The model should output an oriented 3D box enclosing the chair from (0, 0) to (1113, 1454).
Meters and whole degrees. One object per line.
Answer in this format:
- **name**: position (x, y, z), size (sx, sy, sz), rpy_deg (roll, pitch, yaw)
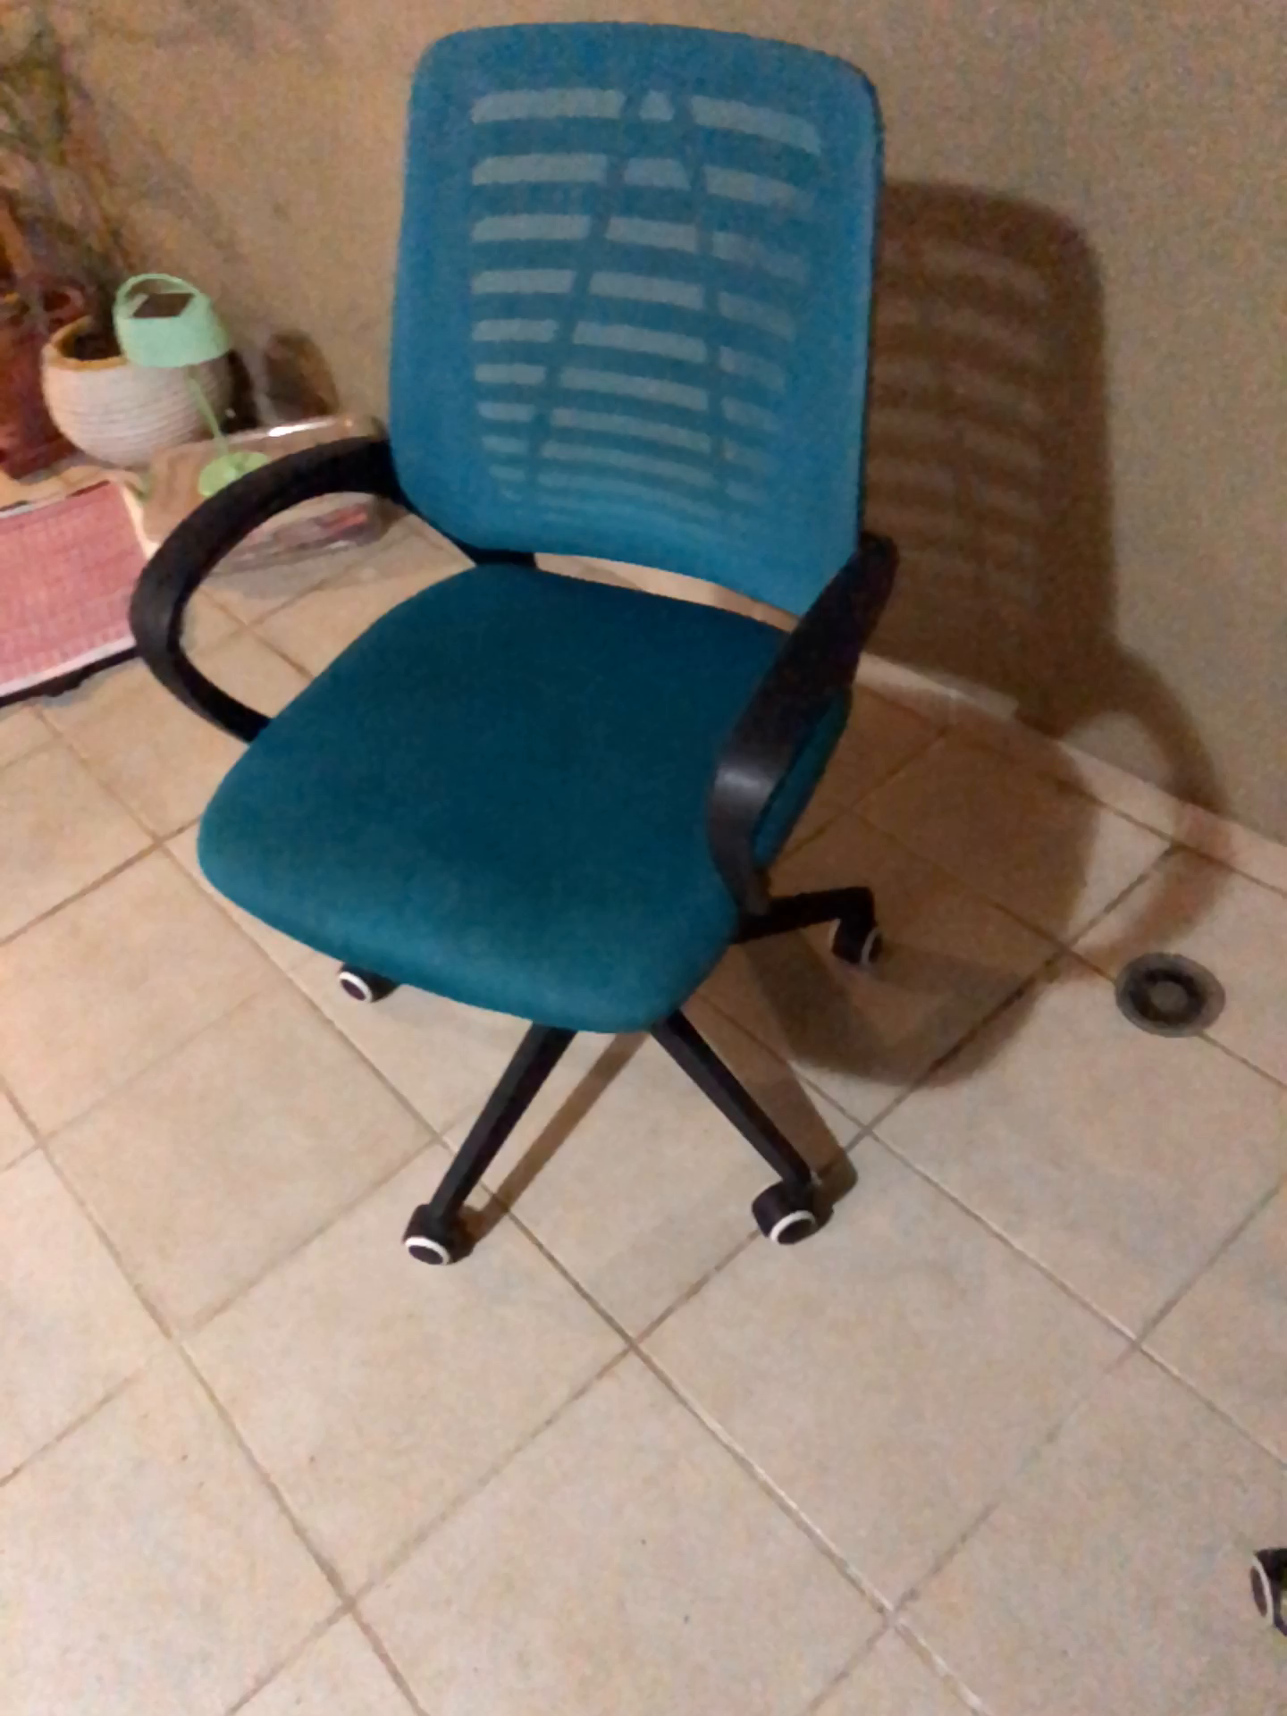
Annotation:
- **chair**: position (-0.088, -0.134, 1.282), size (0.712, 0.923, 0.744), rpy_deg (18, 54, 26)
